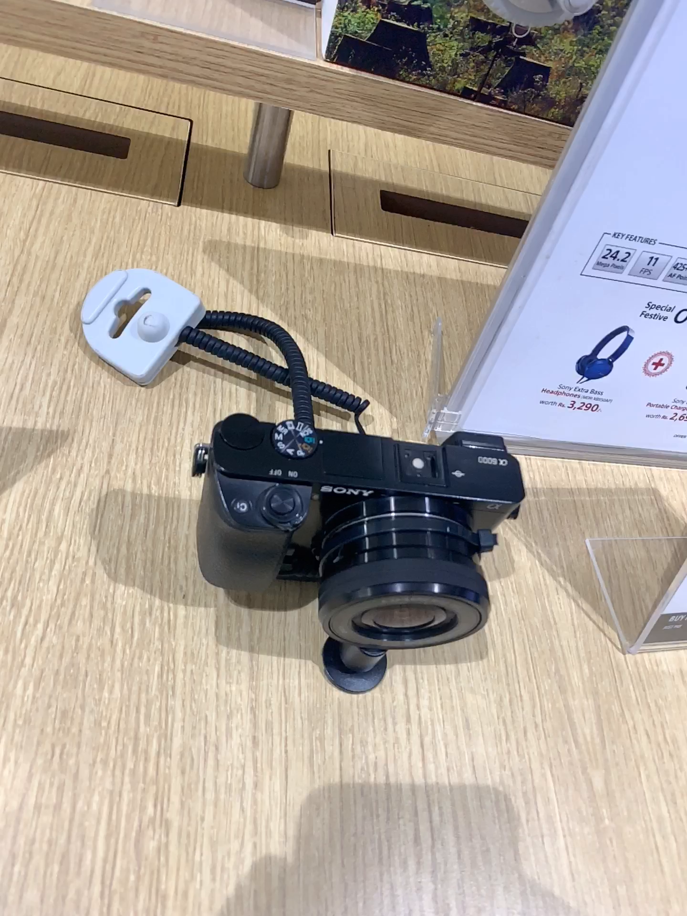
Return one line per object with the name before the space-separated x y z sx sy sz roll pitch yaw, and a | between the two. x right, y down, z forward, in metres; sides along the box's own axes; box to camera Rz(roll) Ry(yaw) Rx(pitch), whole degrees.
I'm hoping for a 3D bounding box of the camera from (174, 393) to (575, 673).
camera | 0.004 0.037 0.283 0.130 0.090 0.070 5 55 -14
